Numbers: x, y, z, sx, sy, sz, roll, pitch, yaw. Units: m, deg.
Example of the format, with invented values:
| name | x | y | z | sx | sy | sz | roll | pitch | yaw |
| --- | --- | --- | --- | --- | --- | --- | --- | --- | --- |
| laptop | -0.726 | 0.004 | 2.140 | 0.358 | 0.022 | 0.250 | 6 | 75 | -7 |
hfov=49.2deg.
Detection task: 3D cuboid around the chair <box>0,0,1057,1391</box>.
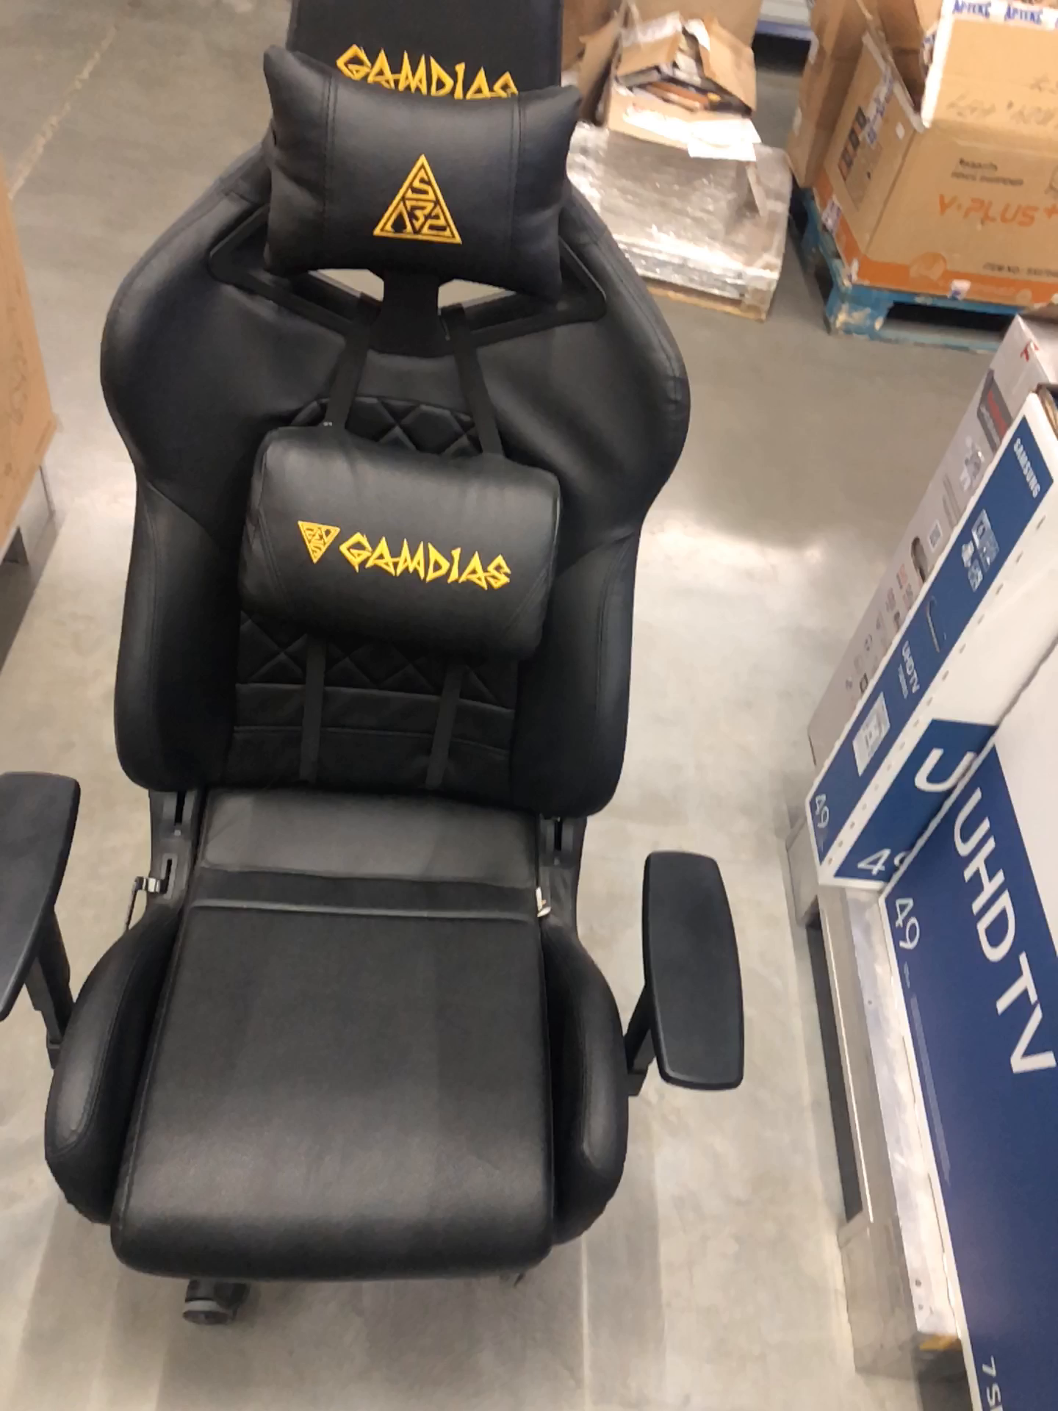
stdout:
| name | x | y | z | sx | sy | sz | roll | pitch | yaw |
| --- | --- | --- | --- | --- | --- | --- | --- | --- | --- |
| chair | -0.146 | 0.087 | 1.126 | 0.740 | 1.282 | 0.785 | 4 | 49 | -7 |
